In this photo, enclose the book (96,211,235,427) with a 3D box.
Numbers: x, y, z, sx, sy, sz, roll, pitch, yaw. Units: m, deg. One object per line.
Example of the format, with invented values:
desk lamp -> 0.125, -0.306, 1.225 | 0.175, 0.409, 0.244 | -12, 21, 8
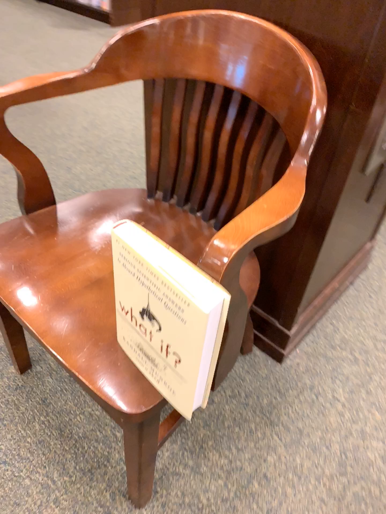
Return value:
book -> -0.048, 0.089, 0.537 | 0.050, 0.239, 0.188 | -30, 52, -35
